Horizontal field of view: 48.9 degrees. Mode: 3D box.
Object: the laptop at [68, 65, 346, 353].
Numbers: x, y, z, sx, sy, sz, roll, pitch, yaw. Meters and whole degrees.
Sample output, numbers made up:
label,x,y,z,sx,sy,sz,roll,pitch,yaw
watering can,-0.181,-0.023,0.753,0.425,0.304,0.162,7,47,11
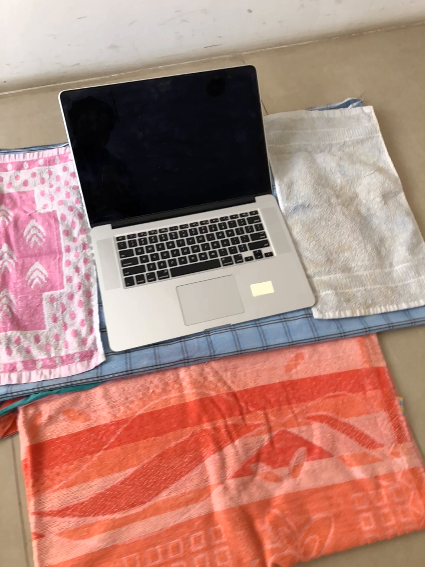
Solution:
label,x,y,z,sx,sy,sz,roll,pitch,yaw
laptop,-0.031,-0.139,0.790,0.343,0.144,0.414,-12,65,-7
